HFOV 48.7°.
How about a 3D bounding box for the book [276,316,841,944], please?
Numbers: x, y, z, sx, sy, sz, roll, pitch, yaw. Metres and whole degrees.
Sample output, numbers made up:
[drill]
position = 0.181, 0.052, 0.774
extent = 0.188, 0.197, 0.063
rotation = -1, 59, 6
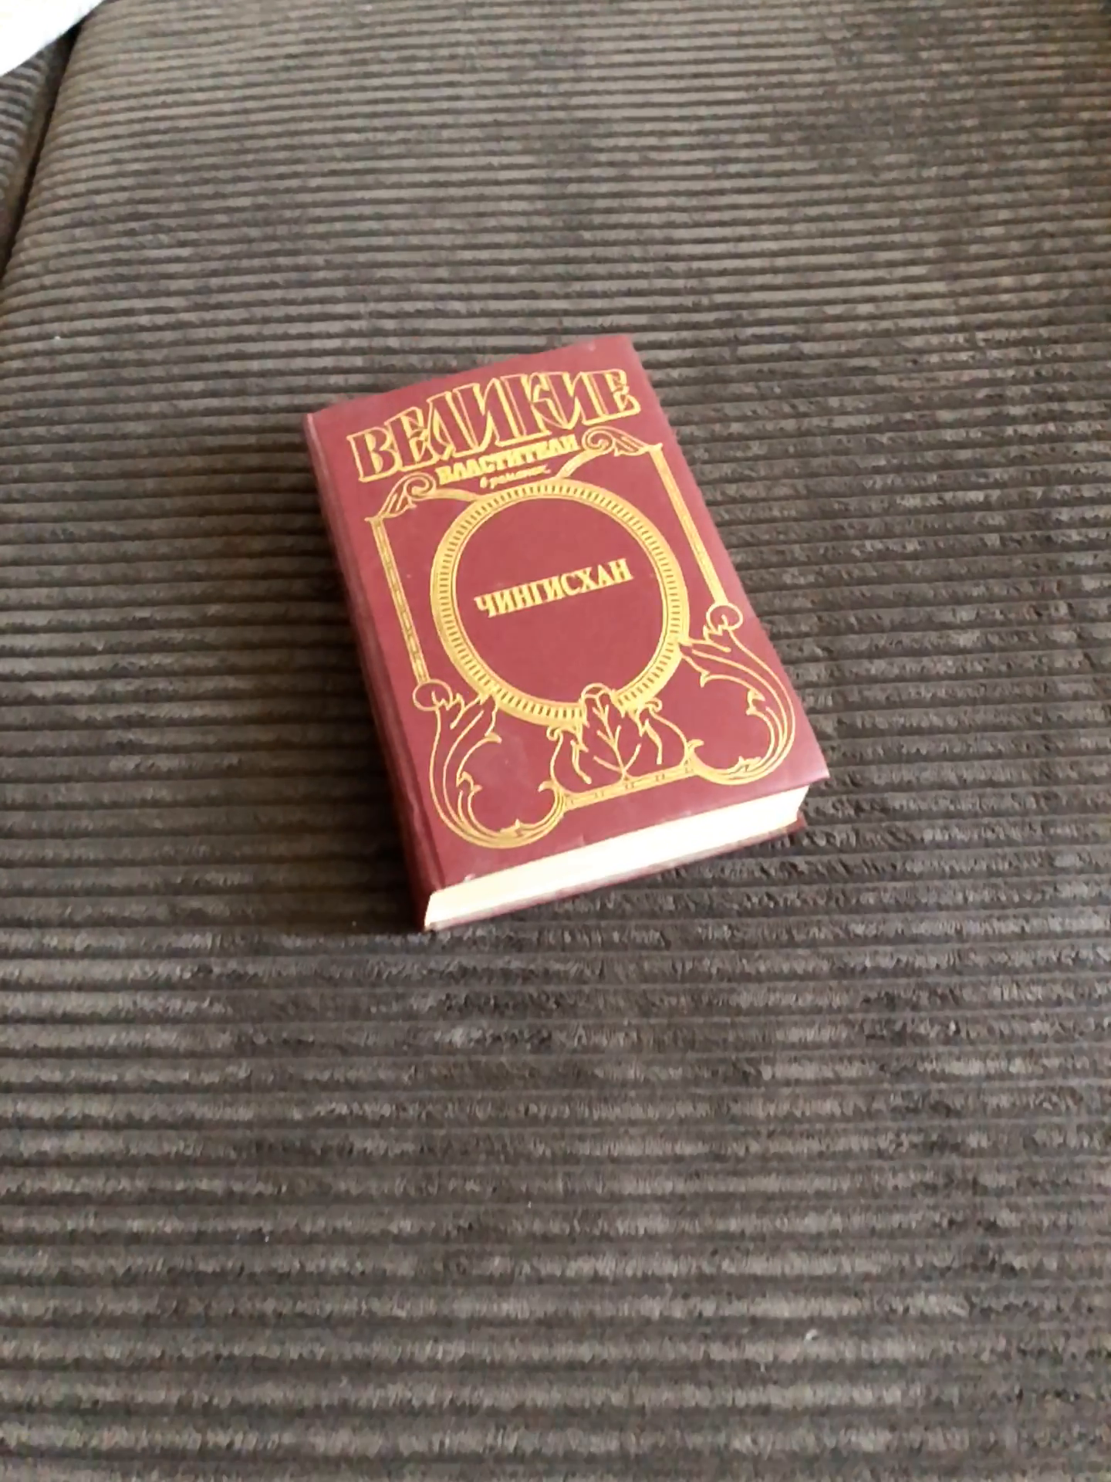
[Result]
[book]
position = -0.008, -0.048, 0.435
extent = 0.137, 0.050, 0.203
rotation = -15, 61, -7
